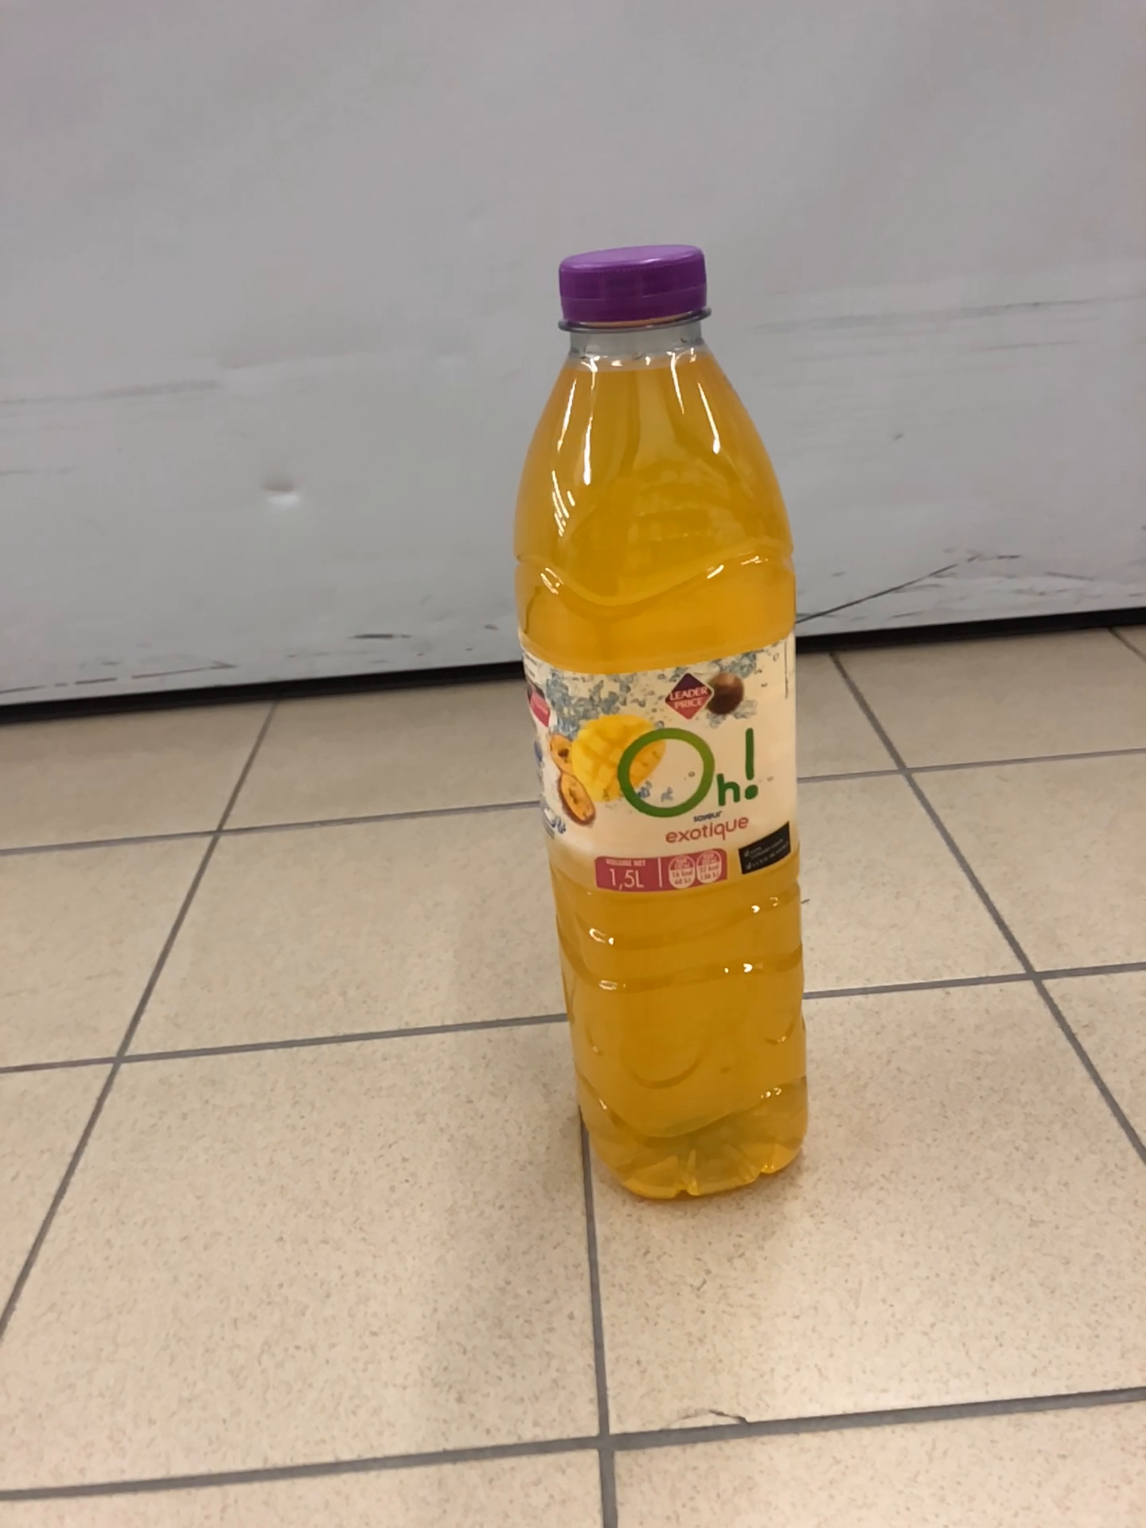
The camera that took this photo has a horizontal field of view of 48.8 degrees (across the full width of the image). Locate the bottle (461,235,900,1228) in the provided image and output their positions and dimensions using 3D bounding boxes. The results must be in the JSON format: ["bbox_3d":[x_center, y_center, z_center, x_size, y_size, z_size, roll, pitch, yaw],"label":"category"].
[{"bbox_3d":[0.035,-0.005,0.410,0.100,0.298,0.090,-9,25,-9],"label":"bottle"}]
